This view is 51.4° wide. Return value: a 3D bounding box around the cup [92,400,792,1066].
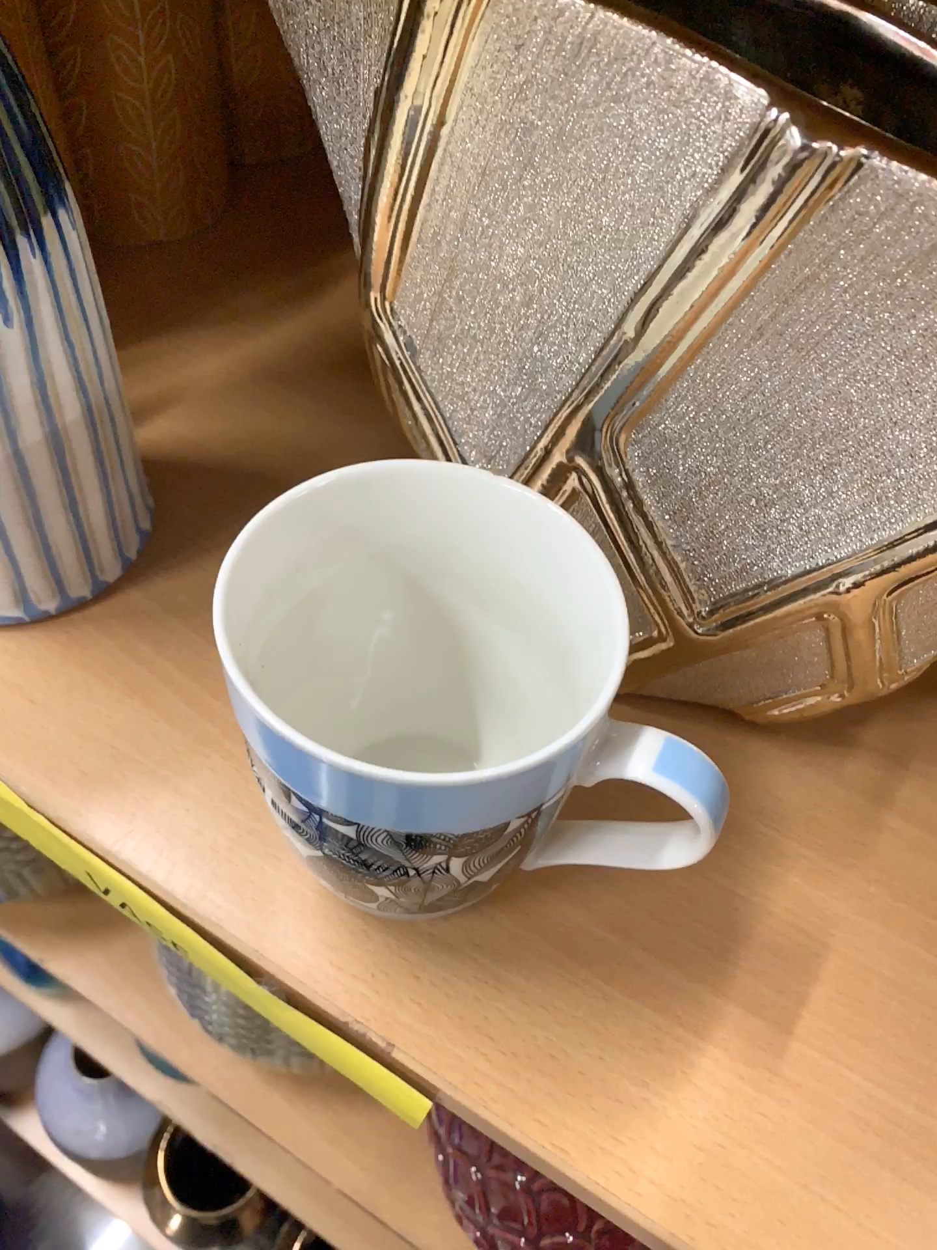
[{"bbox_3d":[-0.002,0.024,0.213,0.110,0.090,0.080,17,49,6],"label":"cup"}]
